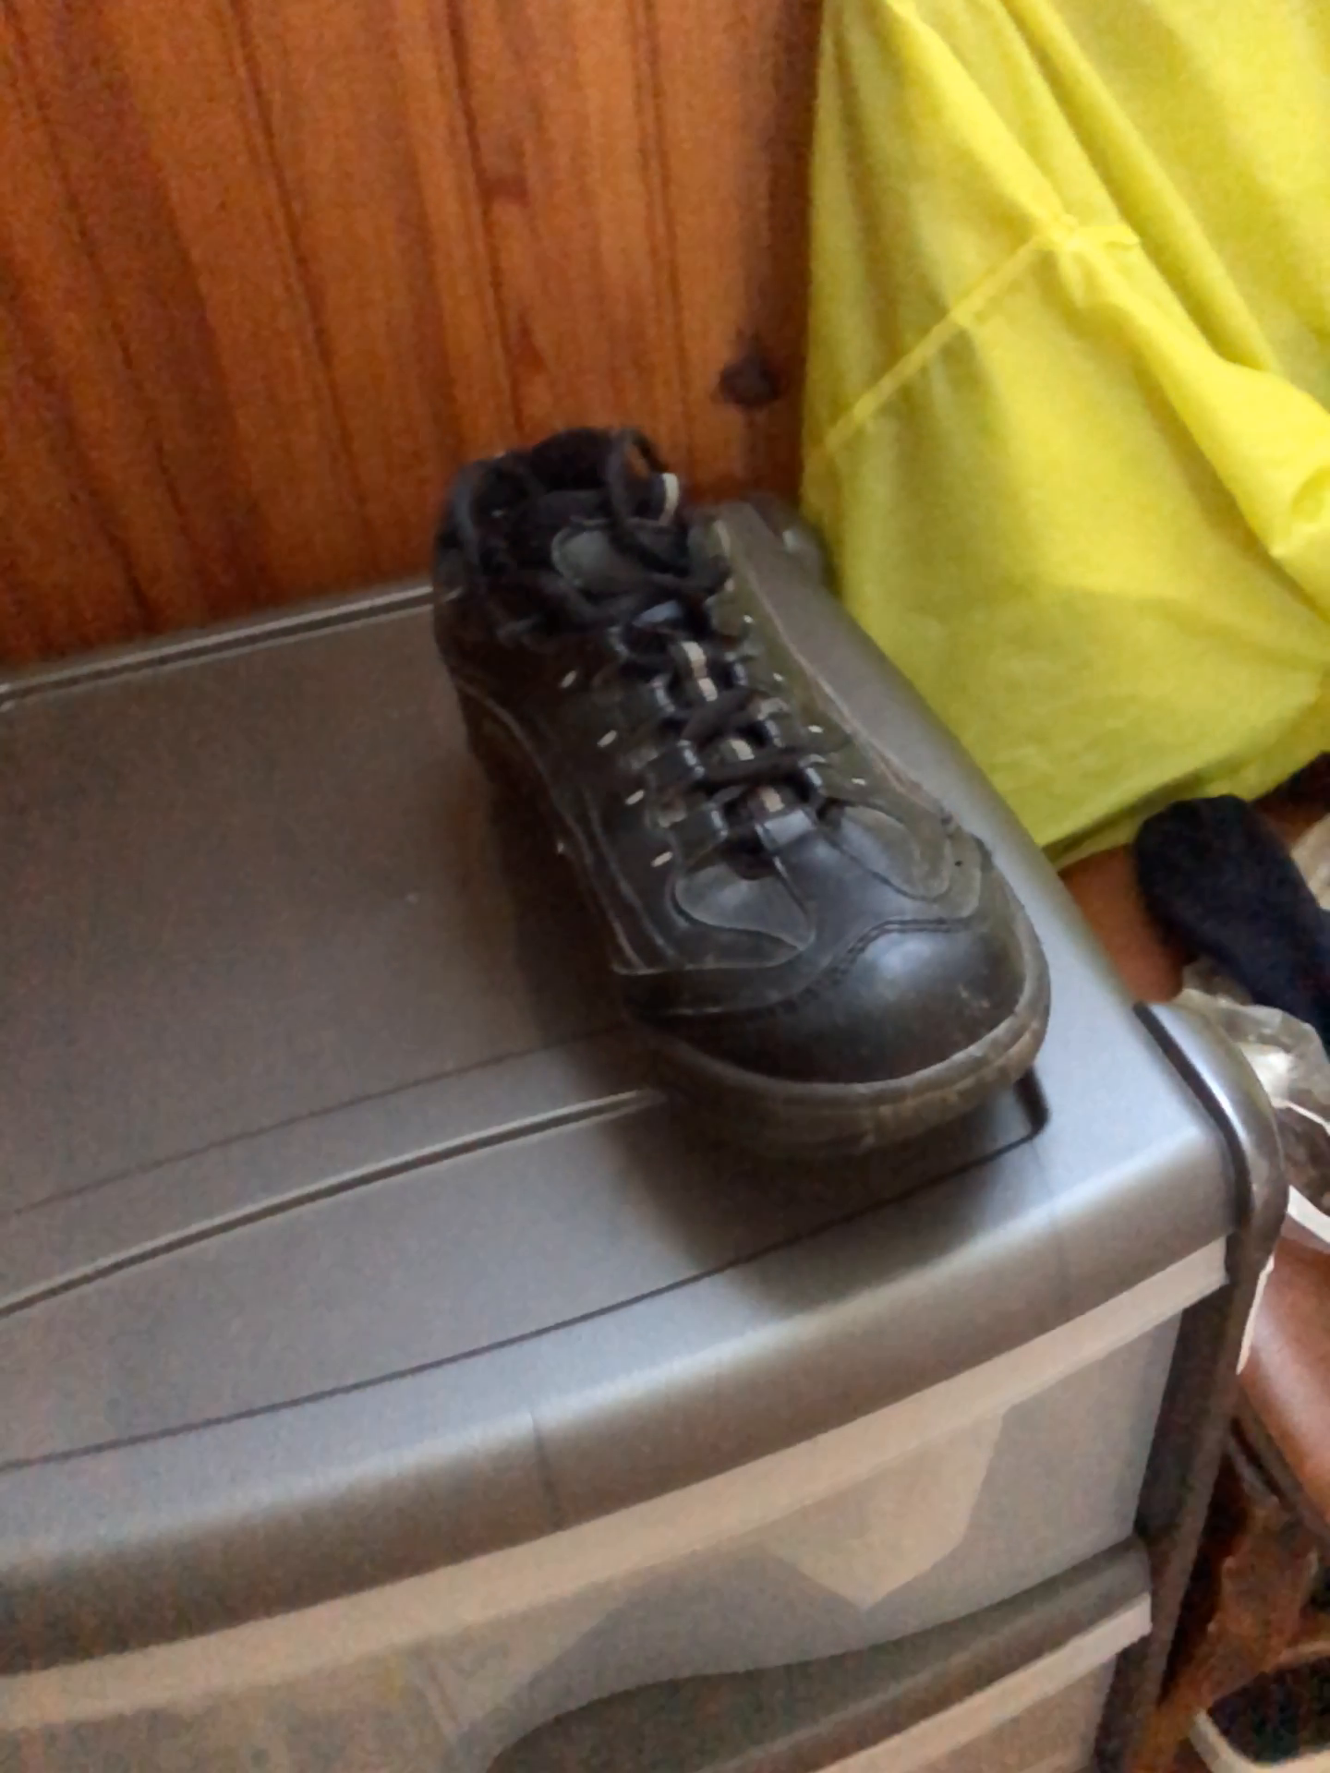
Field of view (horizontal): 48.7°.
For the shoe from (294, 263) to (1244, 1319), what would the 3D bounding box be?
[{"bbox_3d":[0.004,-0.051,0.386,0.110,0.129,0.271,-21,42,-15],"label":"shoe"}]
